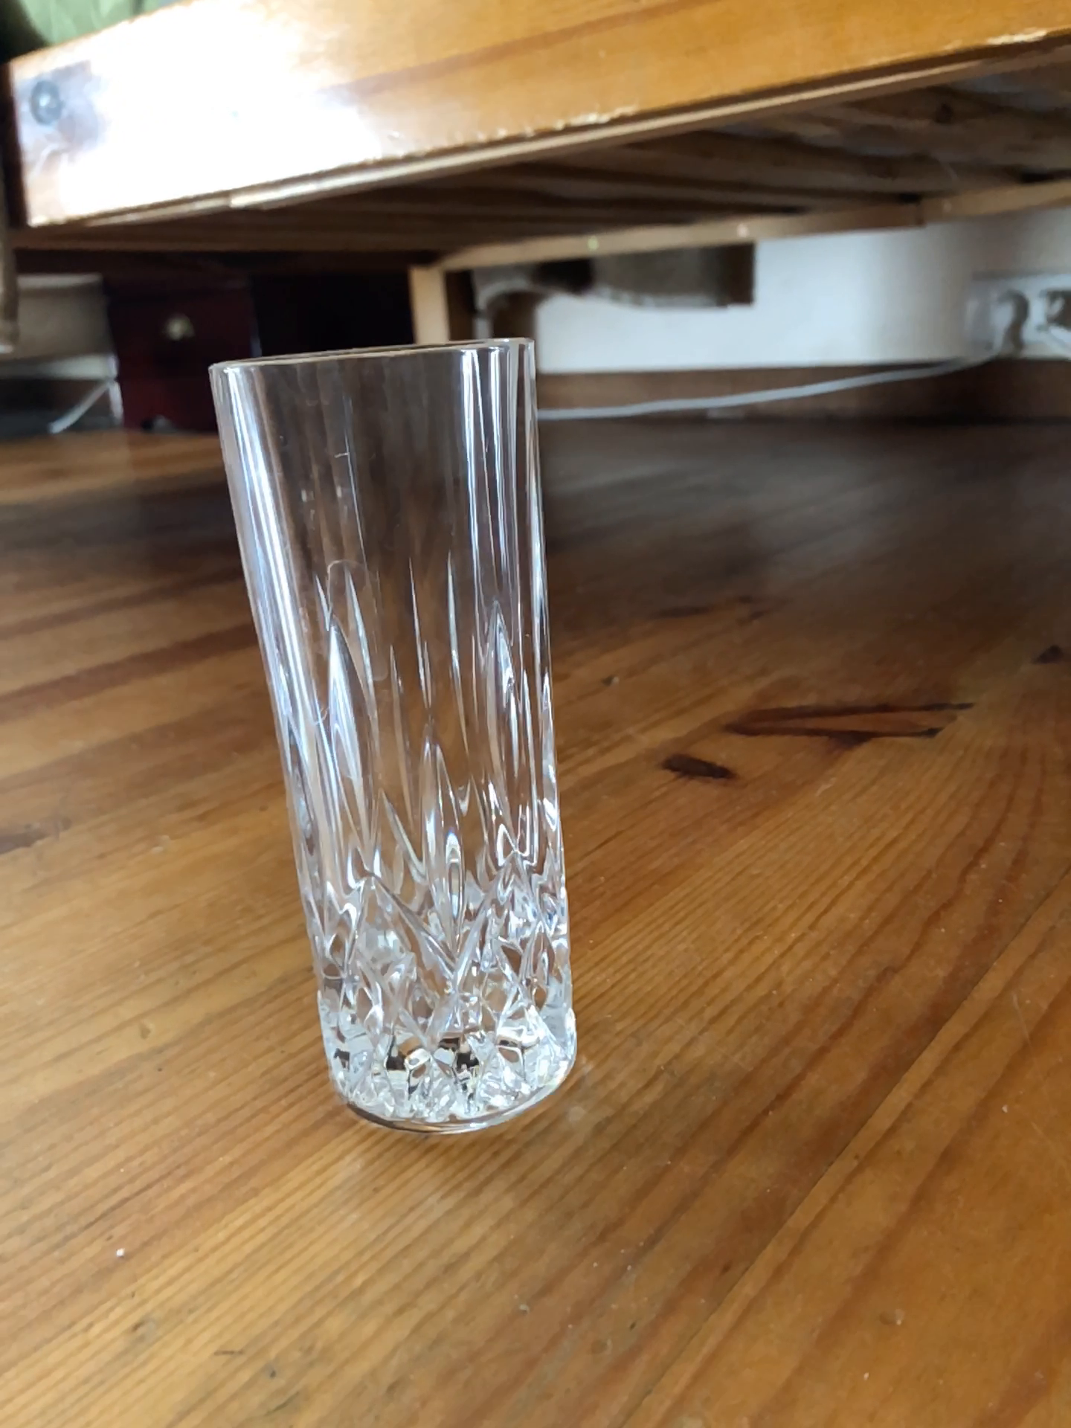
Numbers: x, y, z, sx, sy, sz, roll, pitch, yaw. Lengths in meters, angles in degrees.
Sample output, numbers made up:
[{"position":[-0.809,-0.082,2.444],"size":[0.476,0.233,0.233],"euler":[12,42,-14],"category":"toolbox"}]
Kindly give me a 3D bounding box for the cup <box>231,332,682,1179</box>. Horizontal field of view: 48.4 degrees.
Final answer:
[{"position":[-0.015,0.004,0.233],"size":[0.064,0.144,0.059],"euler":[-4,18,1],"category":"cup"}]
